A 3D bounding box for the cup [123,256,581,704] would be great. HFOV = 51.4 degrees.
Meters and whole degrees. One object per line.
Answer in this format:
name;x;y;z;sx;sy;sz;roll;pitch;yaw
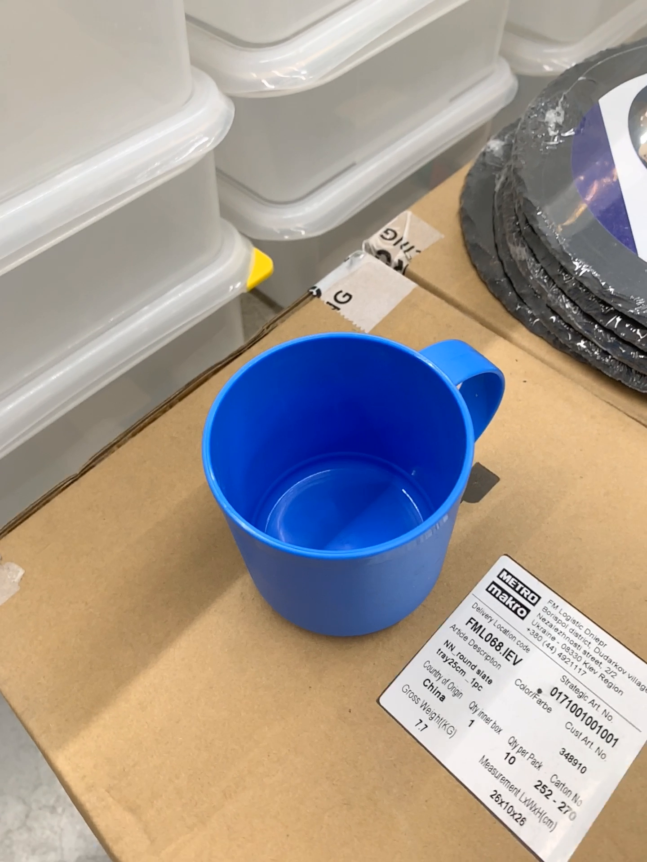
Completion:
cup;0.010;0.014;0.236;0.110;0.071;0.089;-38;61;-19
